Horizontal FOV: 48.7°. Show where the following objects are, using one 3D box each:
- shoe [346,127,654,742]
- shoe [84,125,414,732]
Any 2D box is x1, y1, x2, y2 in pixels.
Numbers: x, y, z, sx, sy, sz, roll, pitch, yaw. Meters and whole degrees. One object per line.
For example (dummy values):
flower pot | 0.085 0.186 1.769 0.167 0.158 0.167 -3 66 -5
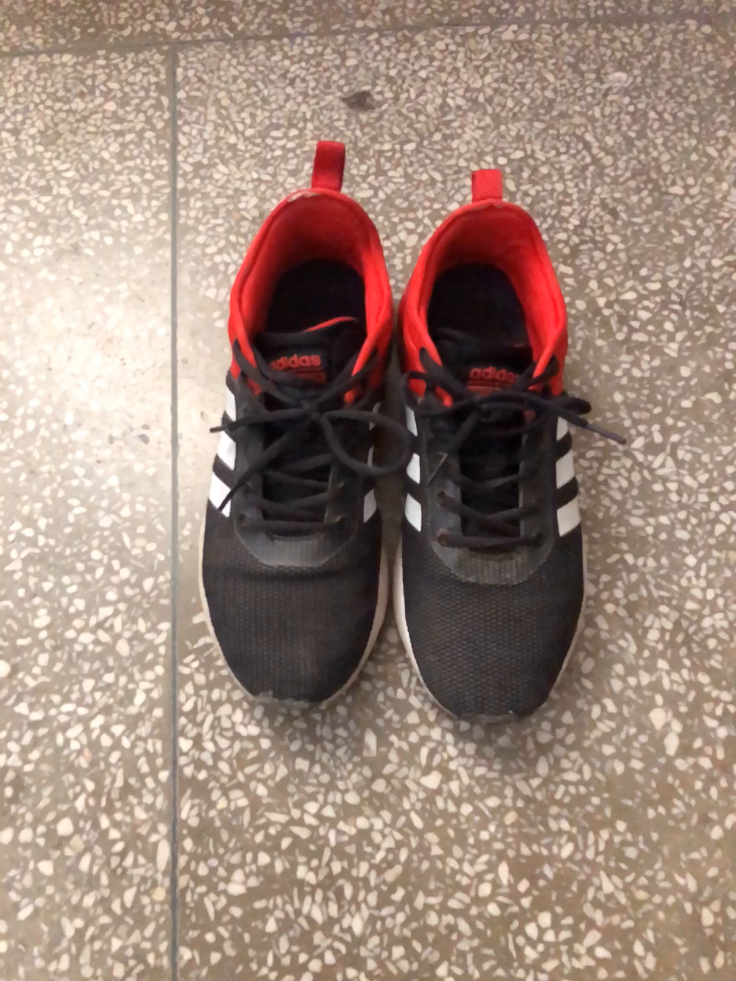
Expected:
shoe | 0.061 -0.030 0.467 0.130 0.140 0.320 2 69 1
shoe | -0.047 -0.033 0.464 0.130 0.140 0.310 3 69 1
